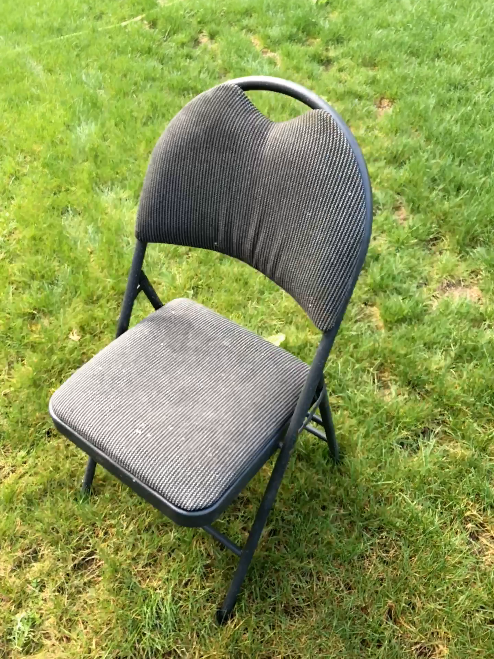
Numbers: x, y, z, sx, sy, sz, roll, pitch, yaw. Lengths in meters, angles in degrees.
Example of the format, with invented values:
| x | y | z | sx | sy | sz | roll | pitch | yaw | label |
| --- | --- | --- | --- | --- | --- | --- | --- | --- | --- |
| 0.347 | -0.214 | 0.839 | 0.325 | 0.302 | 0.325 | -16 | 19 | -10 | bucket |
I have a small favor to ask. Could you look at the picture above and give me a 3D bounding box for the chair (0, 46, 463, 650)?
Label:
| x | y | z | sx | sy | sz | roll | pitch | yaw | label |
| --- | --- | --- | --- | --- | --- | --- | --- | --- | --- |
| -0.079 | 0.044 | 1.013 | 0.532 | 0.815 | 0.572 | 29 | 53 | 26 | chair |
